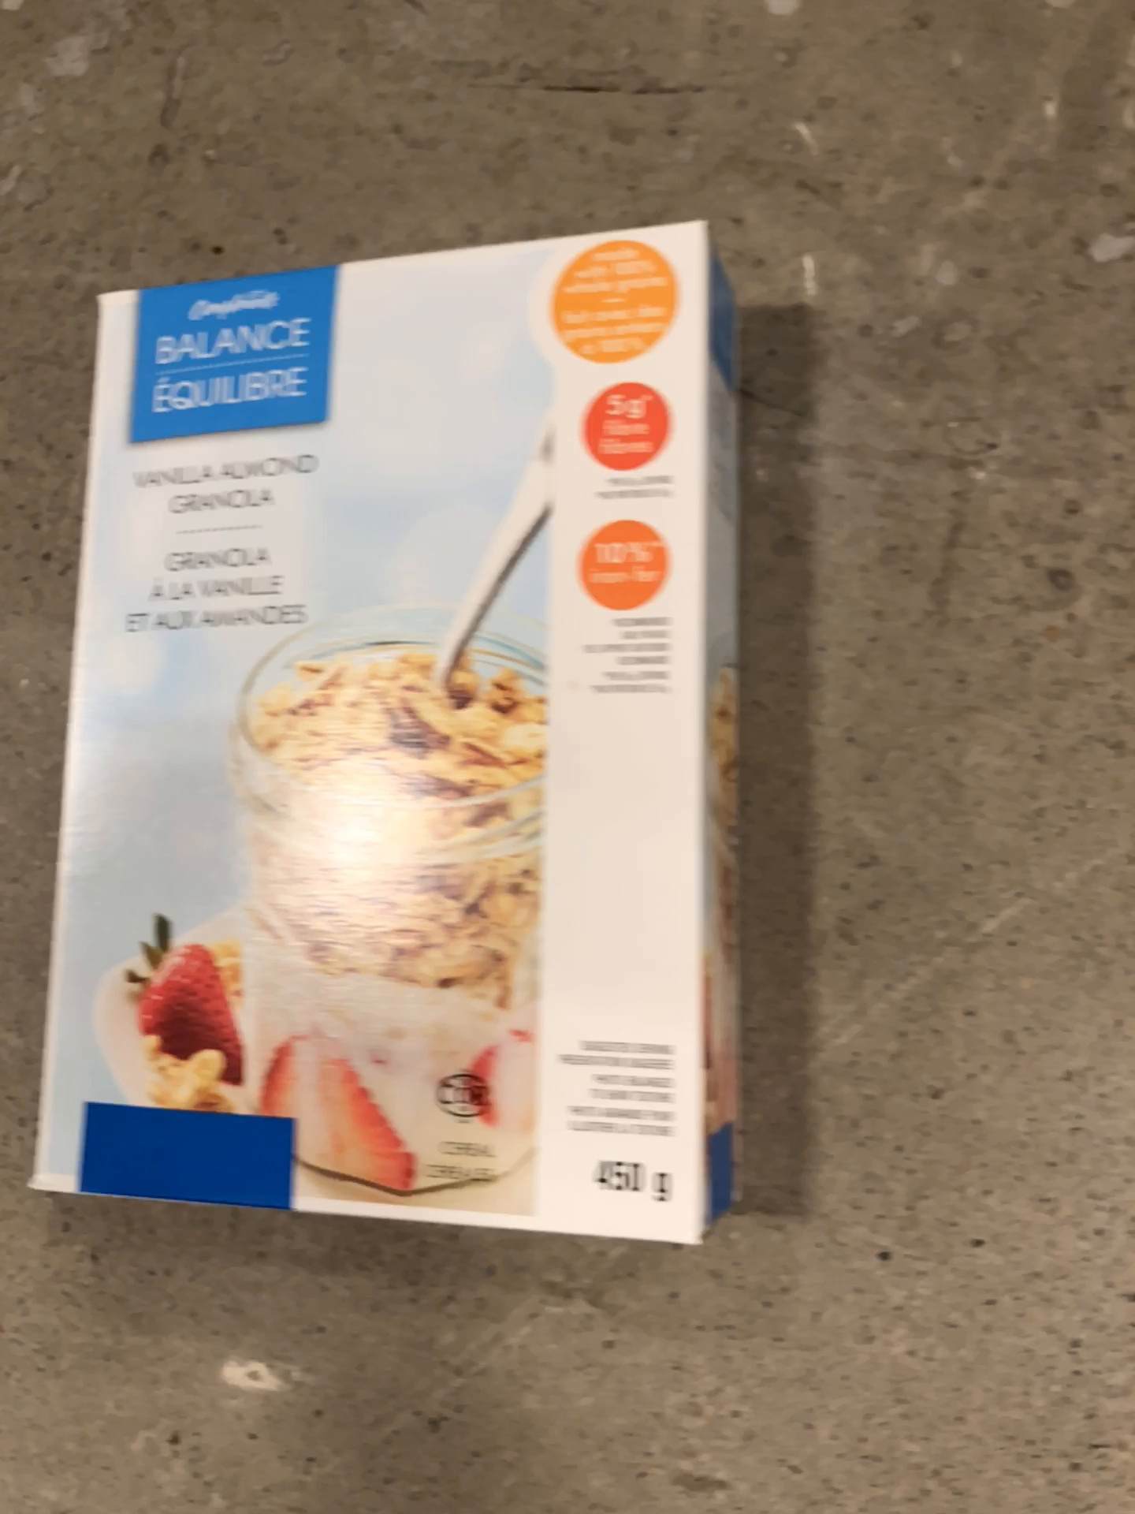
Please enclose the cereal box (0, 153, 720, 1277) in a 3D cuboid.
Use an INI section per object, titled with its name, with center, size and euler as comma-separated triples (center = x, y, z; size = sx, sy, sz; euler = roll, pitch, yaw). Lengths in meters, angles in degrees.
[cereal box]
center = -0.060, -0.010, 0.318
size = 0.190, 0.050, 0.240
euler = -1, 84, 15
